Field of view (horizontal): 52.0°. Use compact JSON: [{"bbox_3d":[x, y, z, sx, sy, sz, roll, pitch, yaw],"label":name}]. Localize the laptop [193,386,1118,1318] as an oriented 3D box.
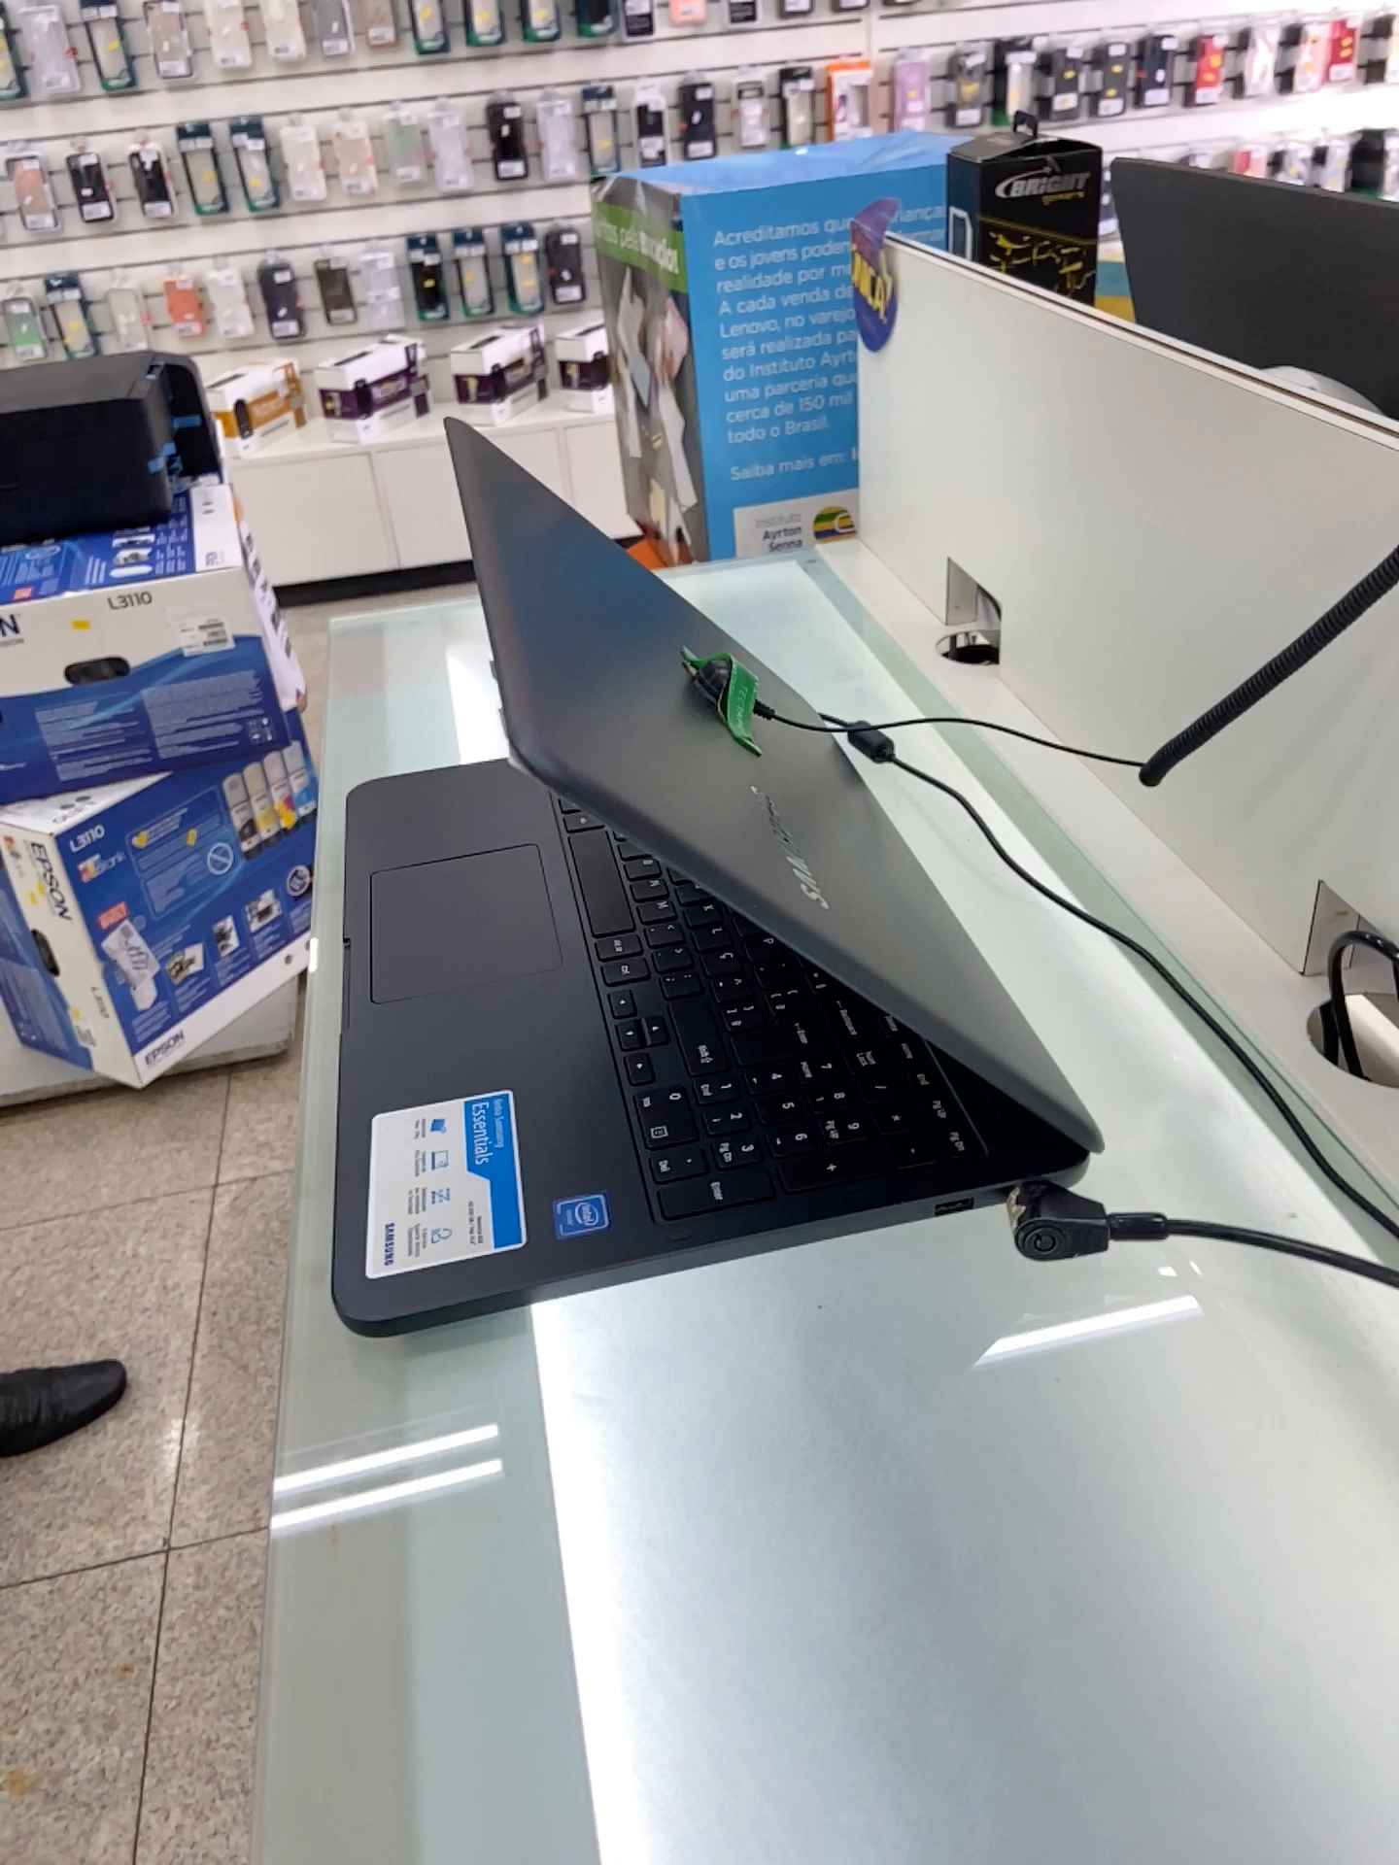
[{"bbox_3d":[-0.036,-0.073,0.573,0.245,0.173,0.374,-11,33,-7],"label":"laptop"}]
